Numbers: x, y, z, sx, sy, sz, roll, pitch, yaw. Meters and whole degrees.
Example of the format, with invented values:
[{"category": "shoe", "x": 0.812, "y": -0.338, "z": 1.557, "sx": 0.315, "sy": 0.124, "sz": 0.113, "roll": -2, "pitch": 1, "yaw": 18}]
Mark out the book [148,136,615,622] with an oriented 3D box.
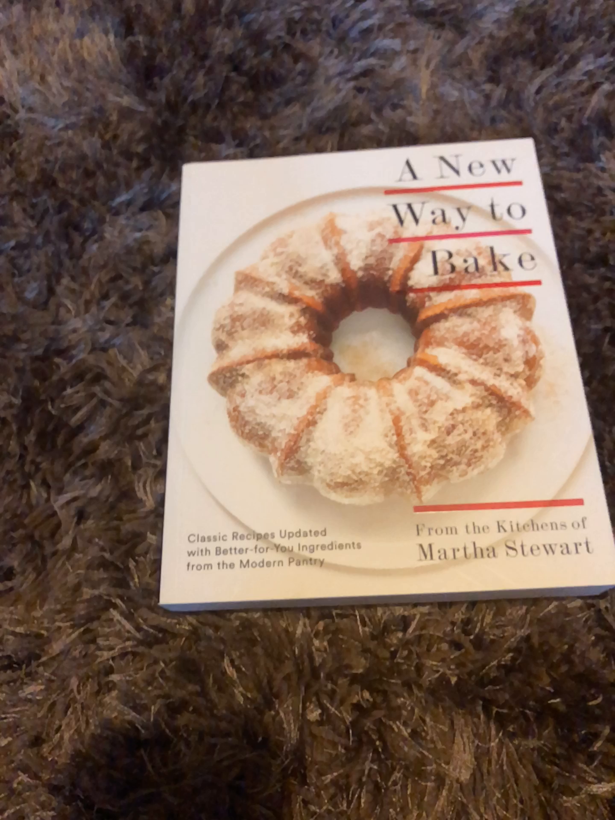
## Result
[{"category": "book", "x": 0.028, "y": -0.023, "z": 0.336, "sx": 0.192, "sy": 0.040, "sz": 0.229, "roll": -4, "pitch": 67, "yaw": 2}]
